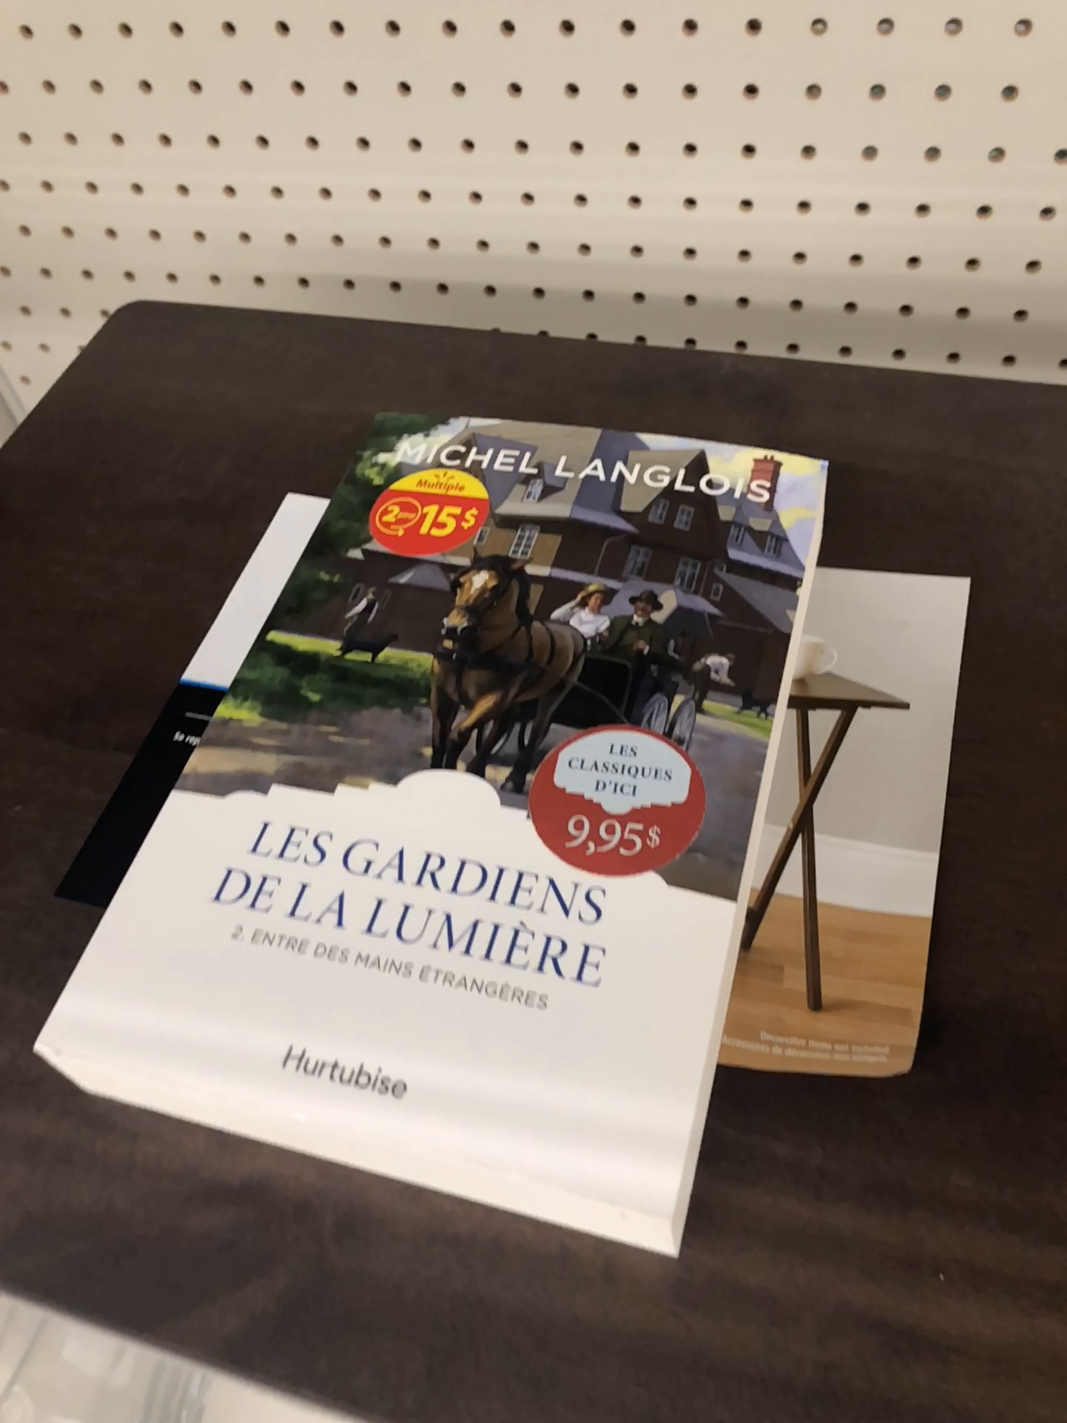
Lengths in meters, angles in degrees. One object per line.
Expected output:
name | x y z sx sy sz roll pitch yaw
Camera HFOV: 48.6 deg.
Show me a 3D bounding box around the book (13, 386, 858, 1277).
book | -0.008 0.007 0.329 0.159 0.039 0.234 10 55 14
